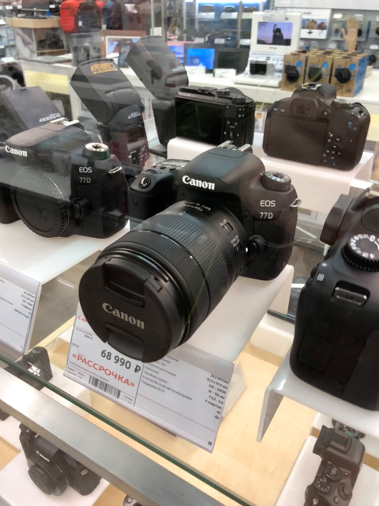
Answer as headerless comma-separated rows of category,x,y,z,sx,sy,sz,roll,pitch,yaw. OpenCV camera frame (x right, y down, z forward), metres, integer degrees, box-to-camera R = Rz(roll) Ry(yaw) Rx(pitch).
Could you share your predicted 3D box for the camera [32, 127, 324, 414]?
camera,0.004,-0.007,0.317,0.132,0.119,0.168,17,35,25
